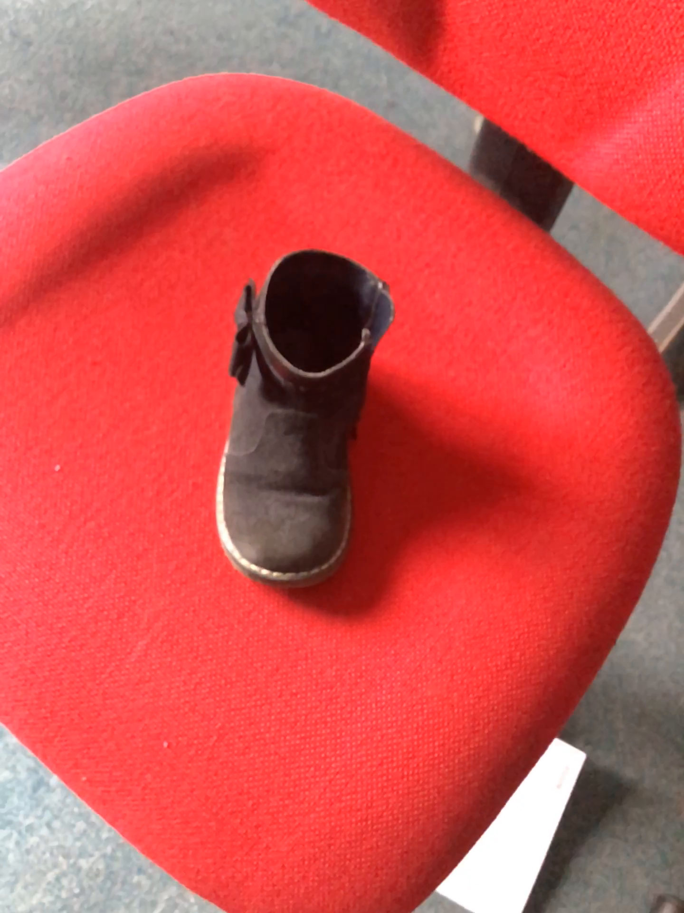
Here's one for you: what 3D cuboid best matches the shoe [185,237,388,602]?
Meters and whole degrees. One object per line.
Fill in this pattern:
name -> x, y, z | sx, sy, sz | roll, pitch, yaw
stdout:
shoe -> -0.023, -0.012, 0.374 | 0.080, 0.100, 0.150 | 2, 71, -3
